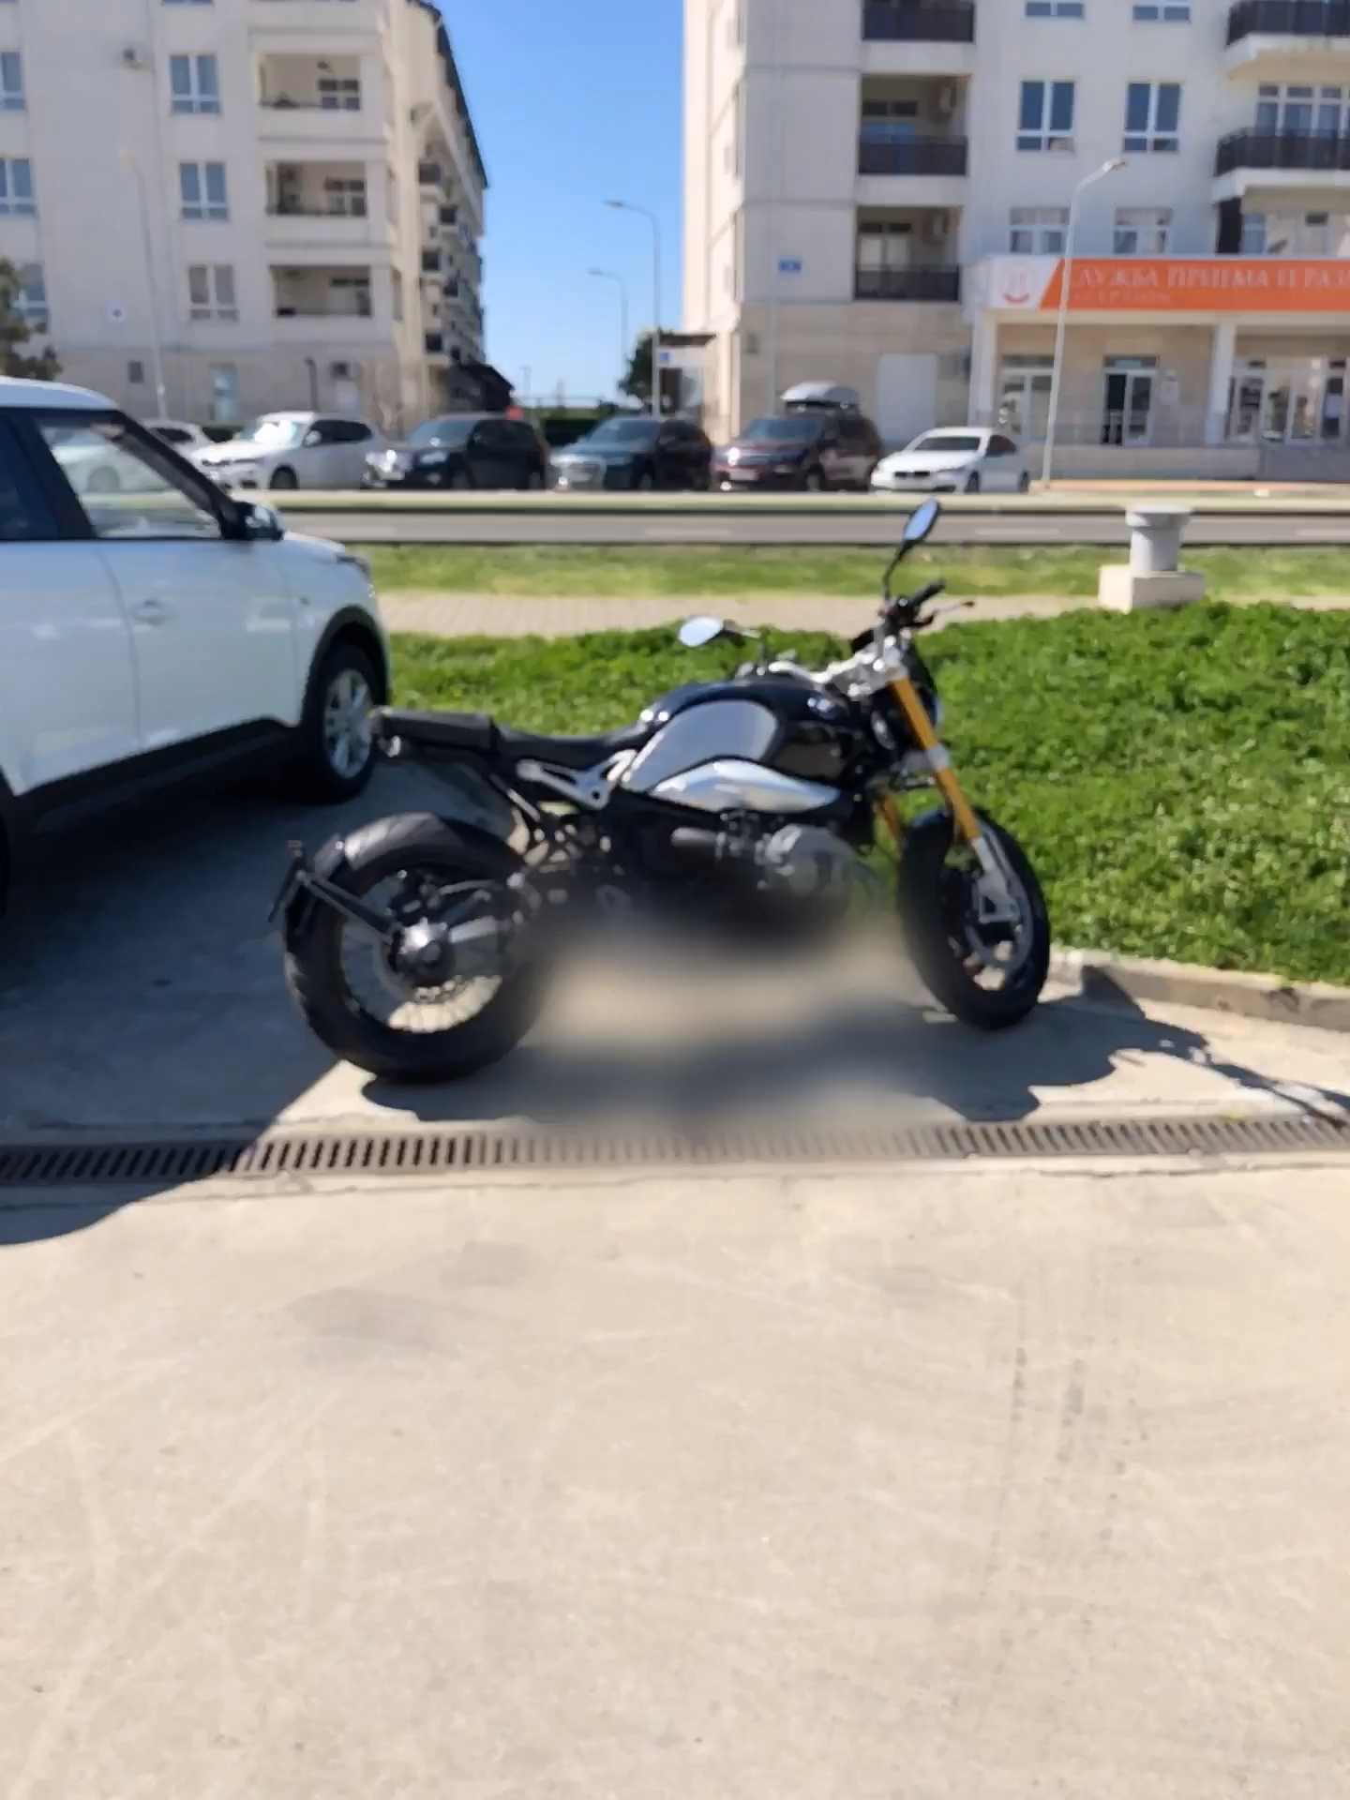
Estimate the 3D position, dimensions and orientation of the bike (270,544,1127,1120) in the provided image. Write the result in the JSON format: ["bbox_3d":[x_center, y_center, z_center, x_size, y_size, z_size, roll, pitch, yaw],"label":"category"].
[{"bbox_3d":[0.038,-0.263,3.525,1.834,1.013,0.779,-7,18,-20],"label":"bike"}]
